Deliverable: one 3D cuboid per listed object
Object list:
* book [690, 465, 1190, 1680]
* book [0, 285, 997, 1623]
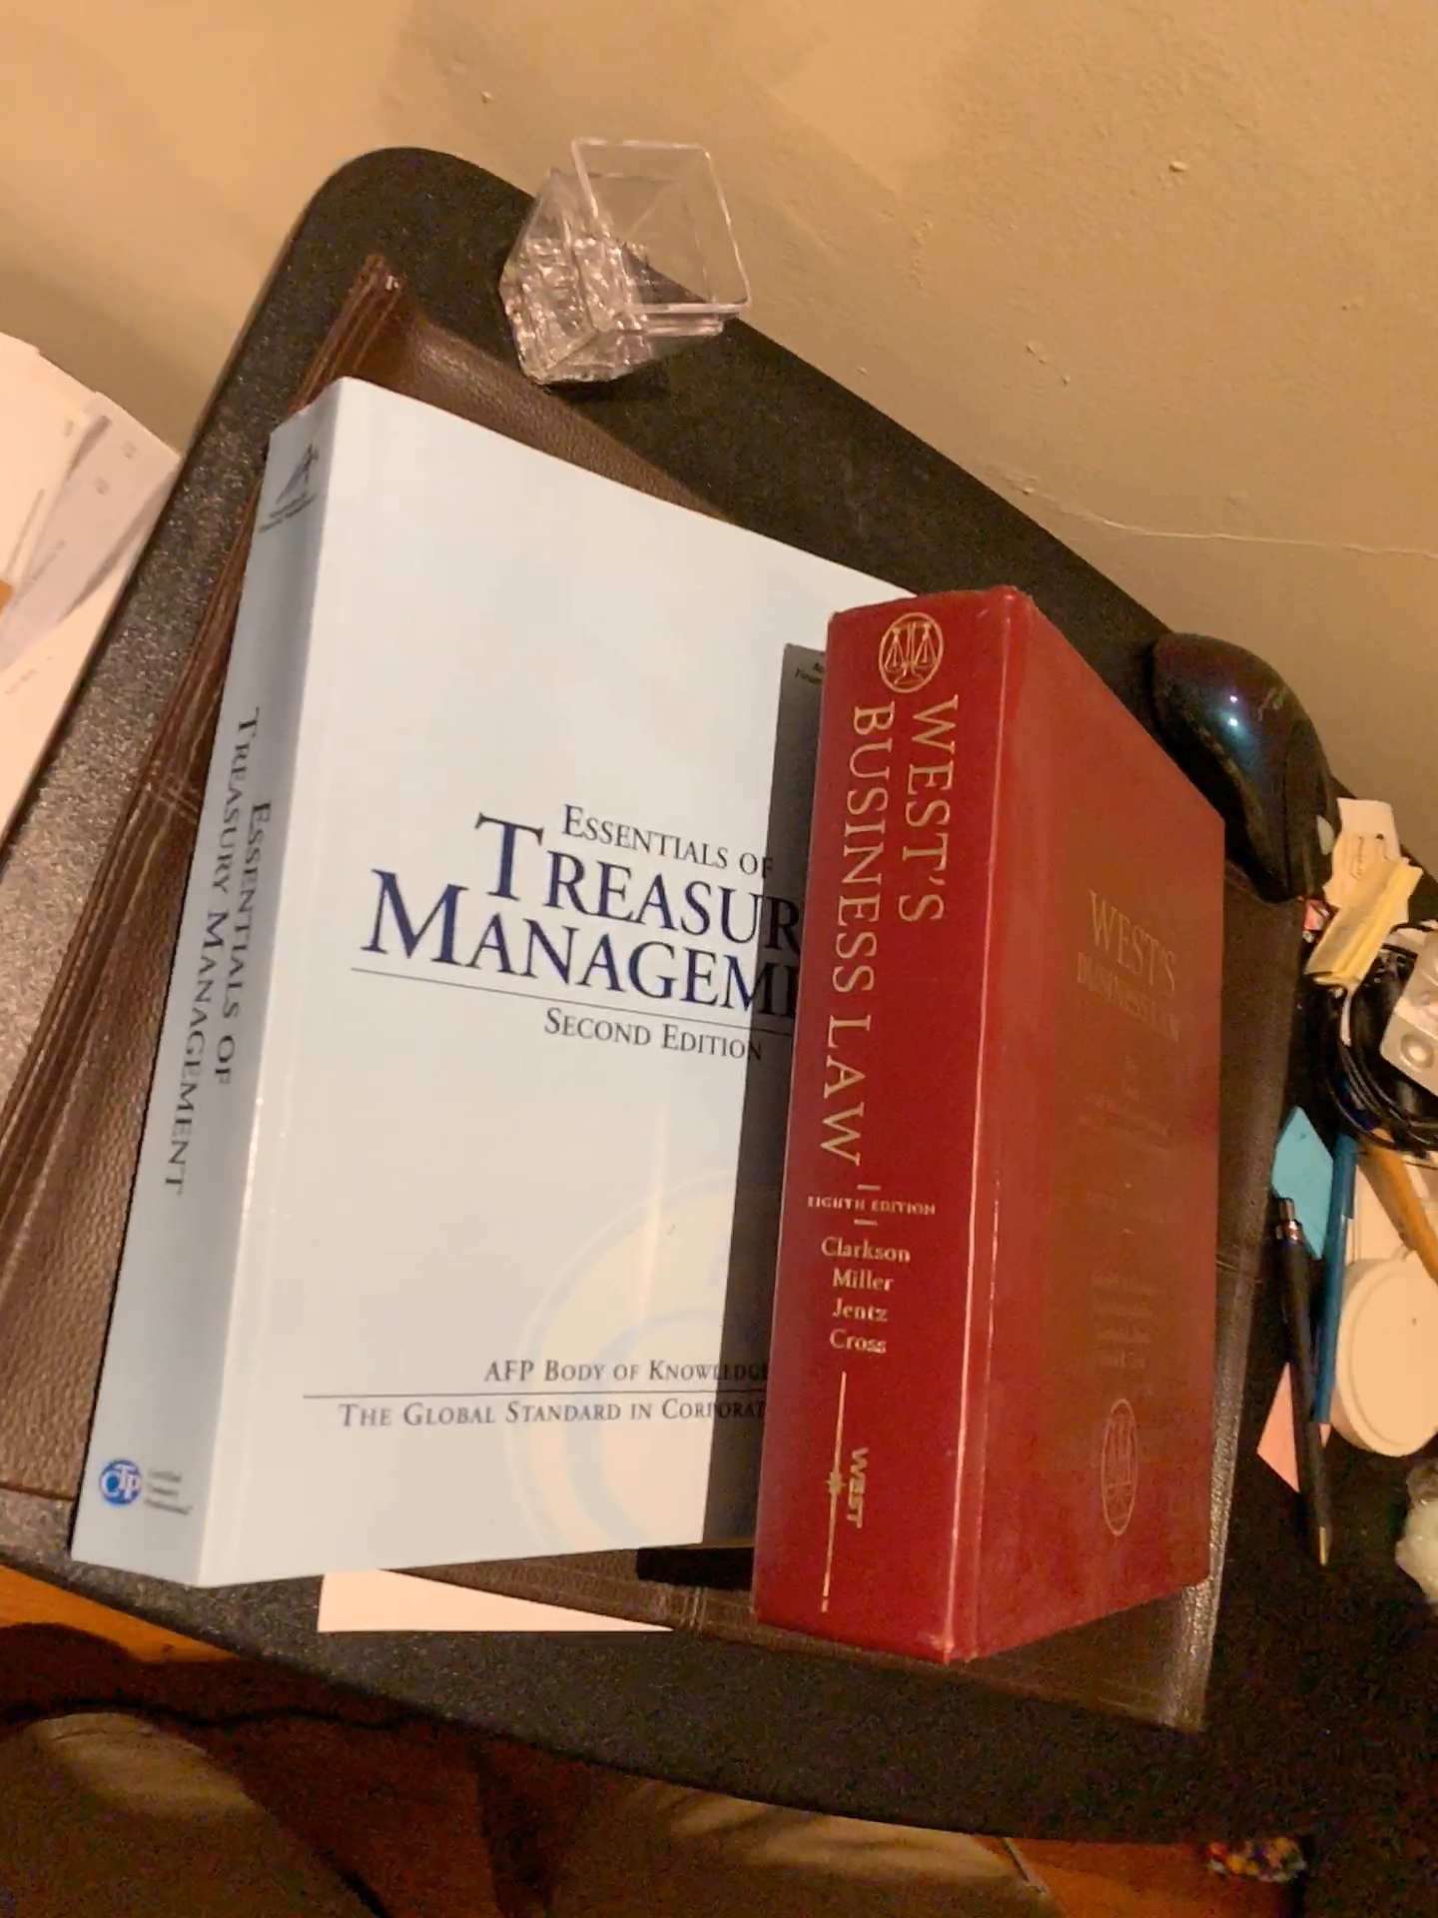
[{"bbox_3d":[0.081,0.038,0.425,0.211,0.050,0.270,23,68,-56],"label":"book"},{"bbox_3d":[-0.041,0.012,0.377,0.221,0.070,0.270,13,75,-32],"label":"book"}]
